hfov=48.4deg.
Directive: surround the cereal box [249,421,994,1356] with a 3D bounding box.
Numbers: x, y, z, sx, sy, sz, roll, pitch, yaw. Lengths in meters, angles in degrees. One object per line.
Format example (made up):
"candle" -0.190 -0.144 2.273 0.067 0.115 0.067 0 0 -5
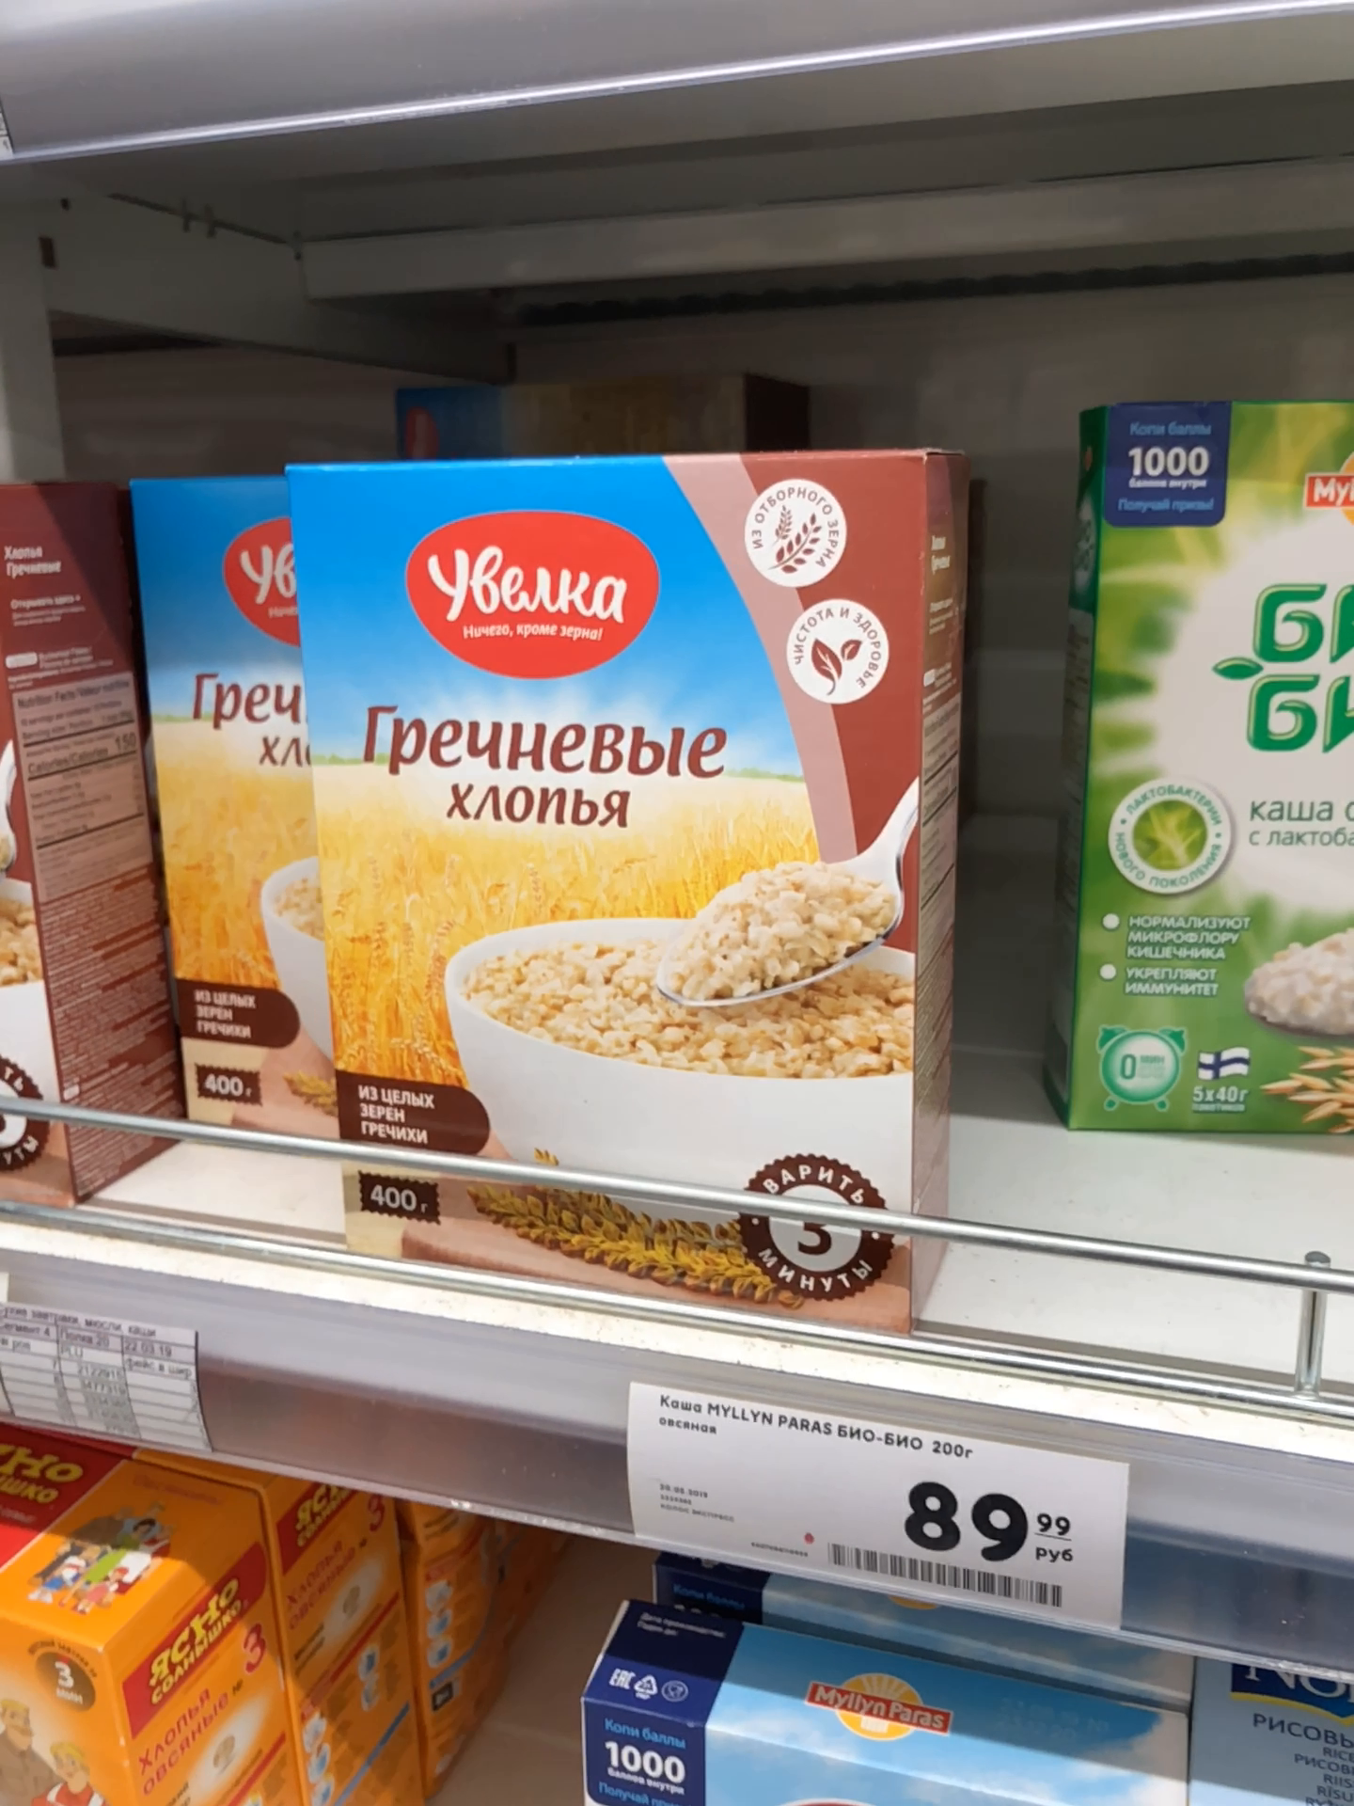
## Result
"cereal box" -0.009 -0.008 0.349 0.150 0.189 0.060 4 15 19
